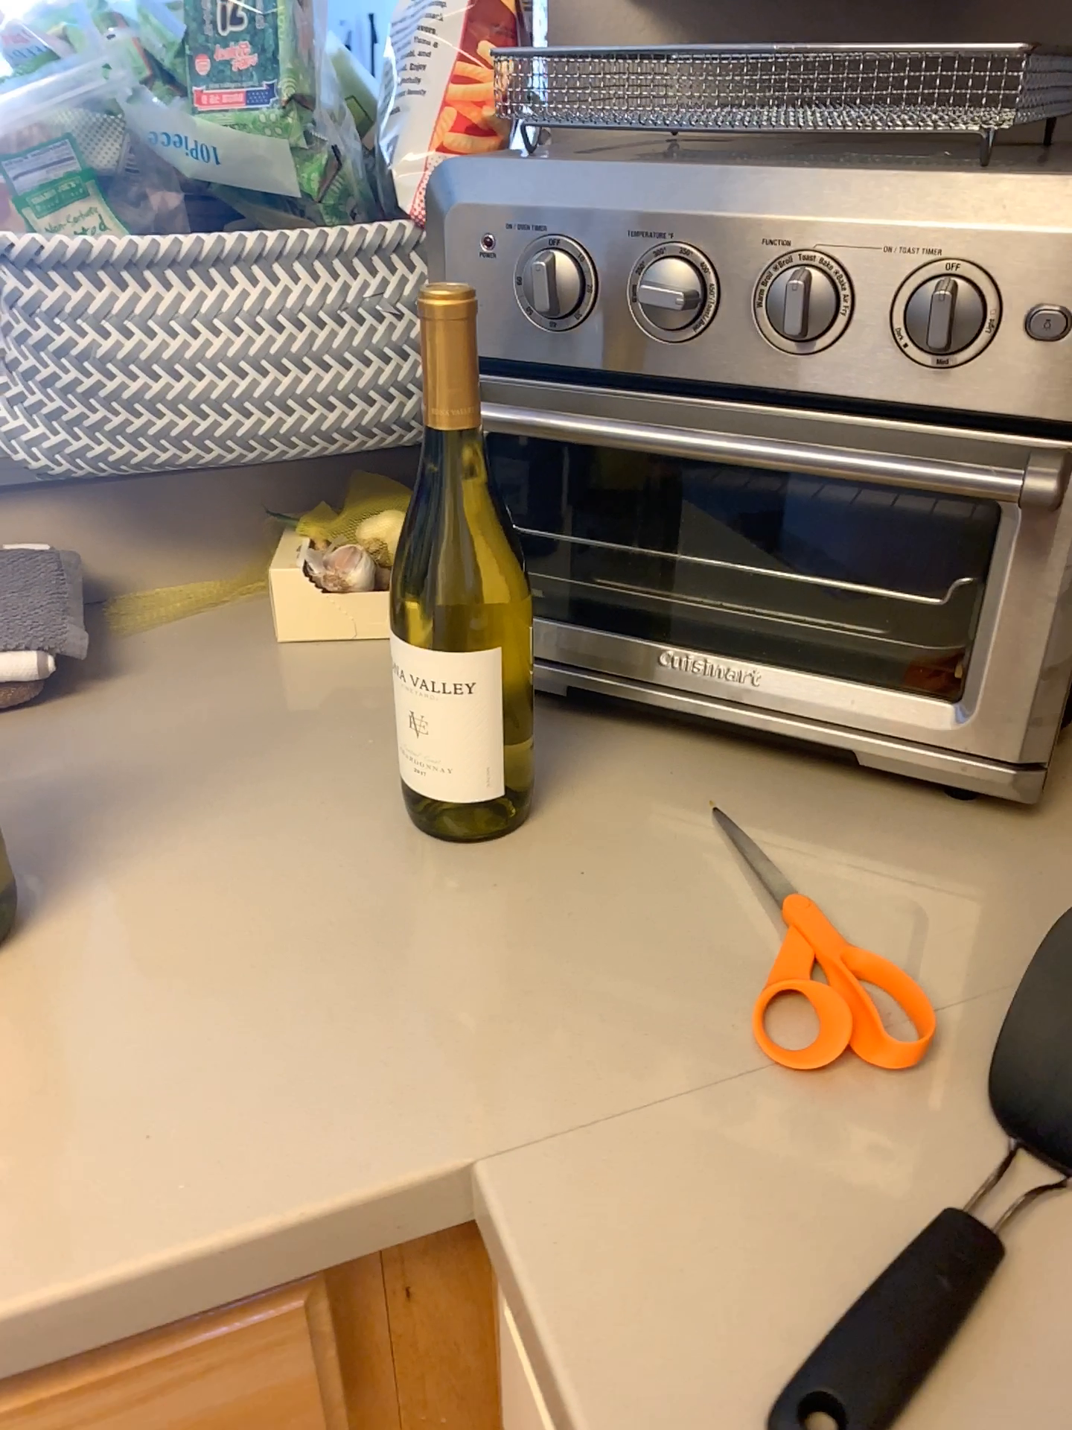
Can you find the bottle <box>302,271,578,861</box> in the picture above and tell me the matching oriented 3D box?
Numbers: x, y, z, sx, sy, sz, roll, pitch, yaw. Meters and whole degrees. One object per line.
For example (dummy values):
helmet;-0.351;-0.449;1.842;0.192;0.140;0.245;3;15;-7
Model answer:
bottle;-0.043;-0.075;0.576;0.090;0.278;0.091;0;29;0
